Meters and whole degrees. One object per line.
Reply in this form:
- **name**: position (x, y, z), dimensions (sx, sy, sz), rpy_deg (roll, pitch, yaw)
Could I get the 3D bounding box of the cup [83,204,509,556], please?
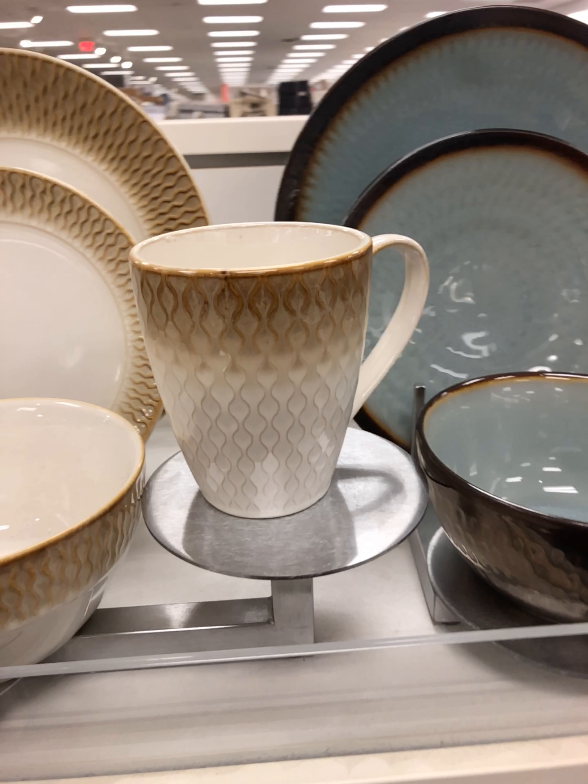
- **cup**: position (0.003, -0.020, 0.266), dimensions (0.129, 0.089, 0.100), rpy_deg (-20, 29, -37)
